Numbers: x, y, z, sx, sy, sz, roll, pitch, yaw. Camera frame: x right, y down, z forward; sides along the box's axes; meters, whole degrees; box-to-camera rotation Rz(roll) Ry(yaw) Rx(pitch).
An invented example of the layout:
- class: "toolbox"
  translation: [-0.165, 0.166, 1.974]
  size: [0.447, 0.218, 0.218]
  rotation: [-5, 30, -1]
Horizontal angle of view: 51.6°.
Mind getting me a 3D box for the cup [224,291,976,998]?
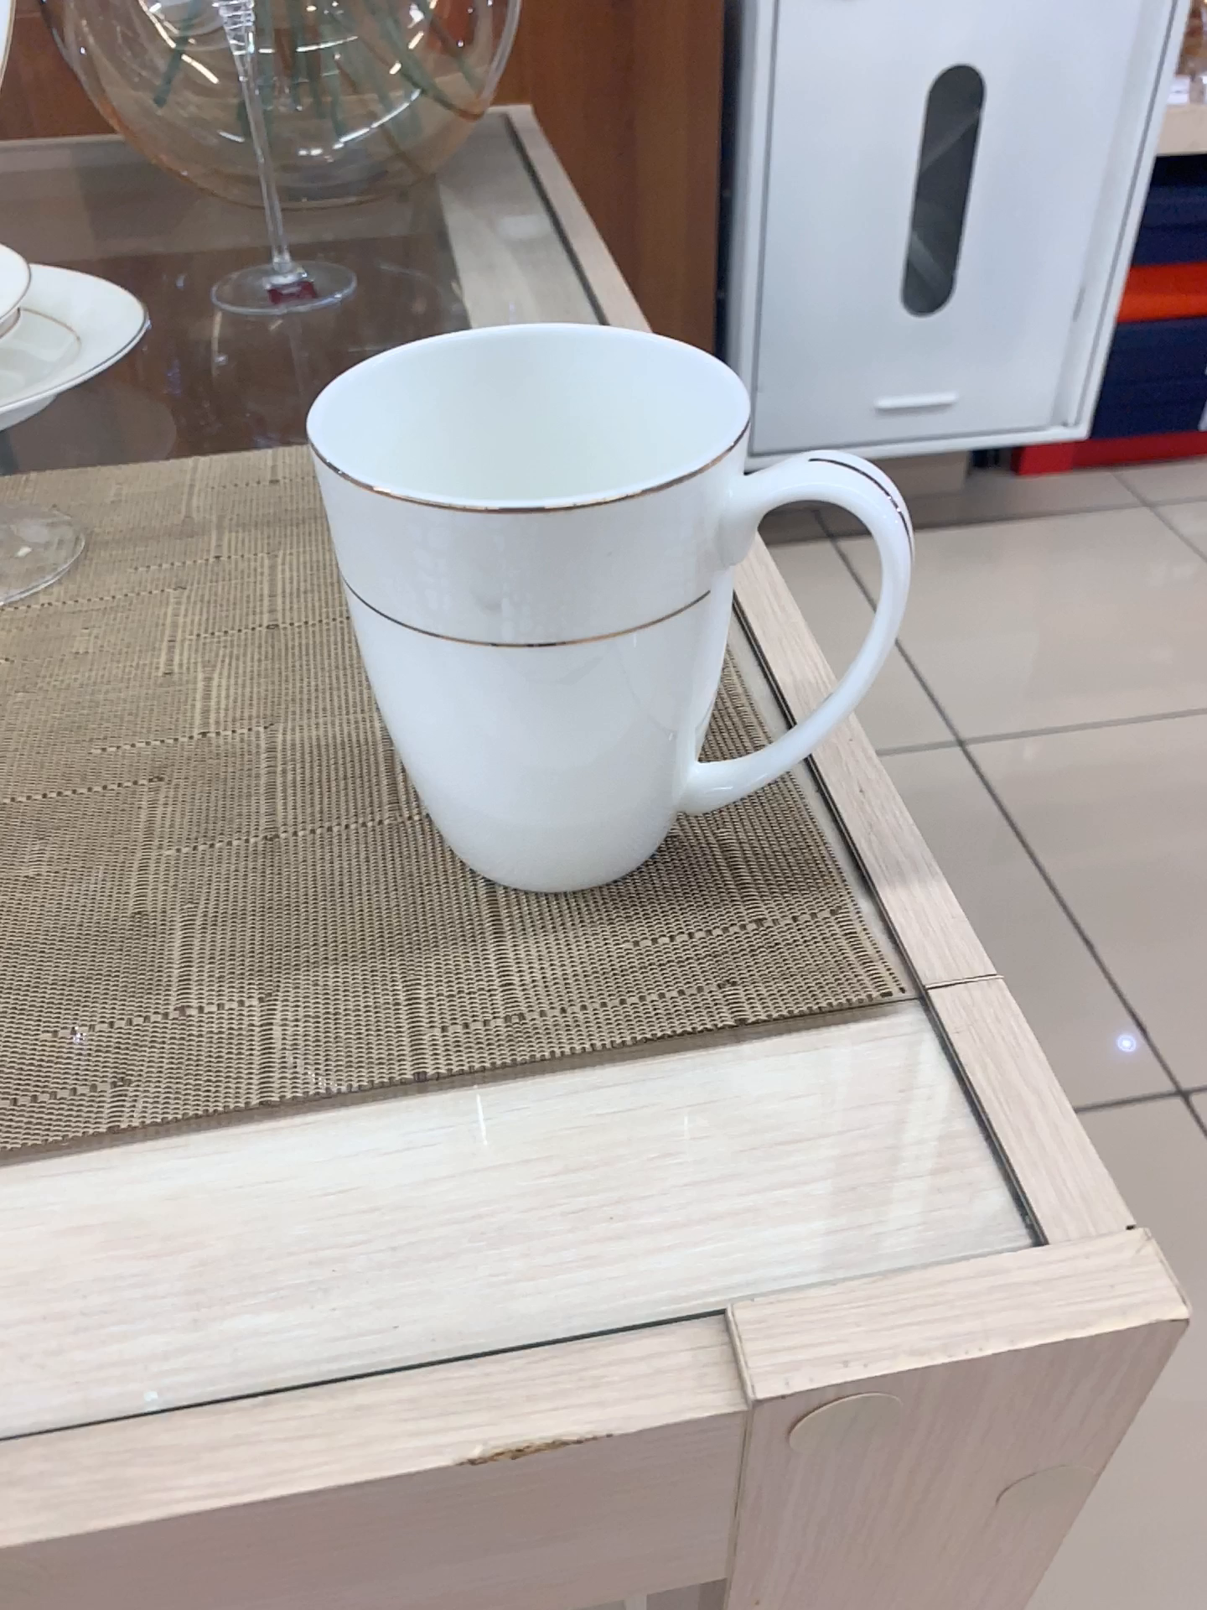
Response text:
- class: "cup"
  translation: [0.004, -0.041, 0.276]
  size: [0.120, 0.100, 0.090]
  rotation: [16, 43, 19]
